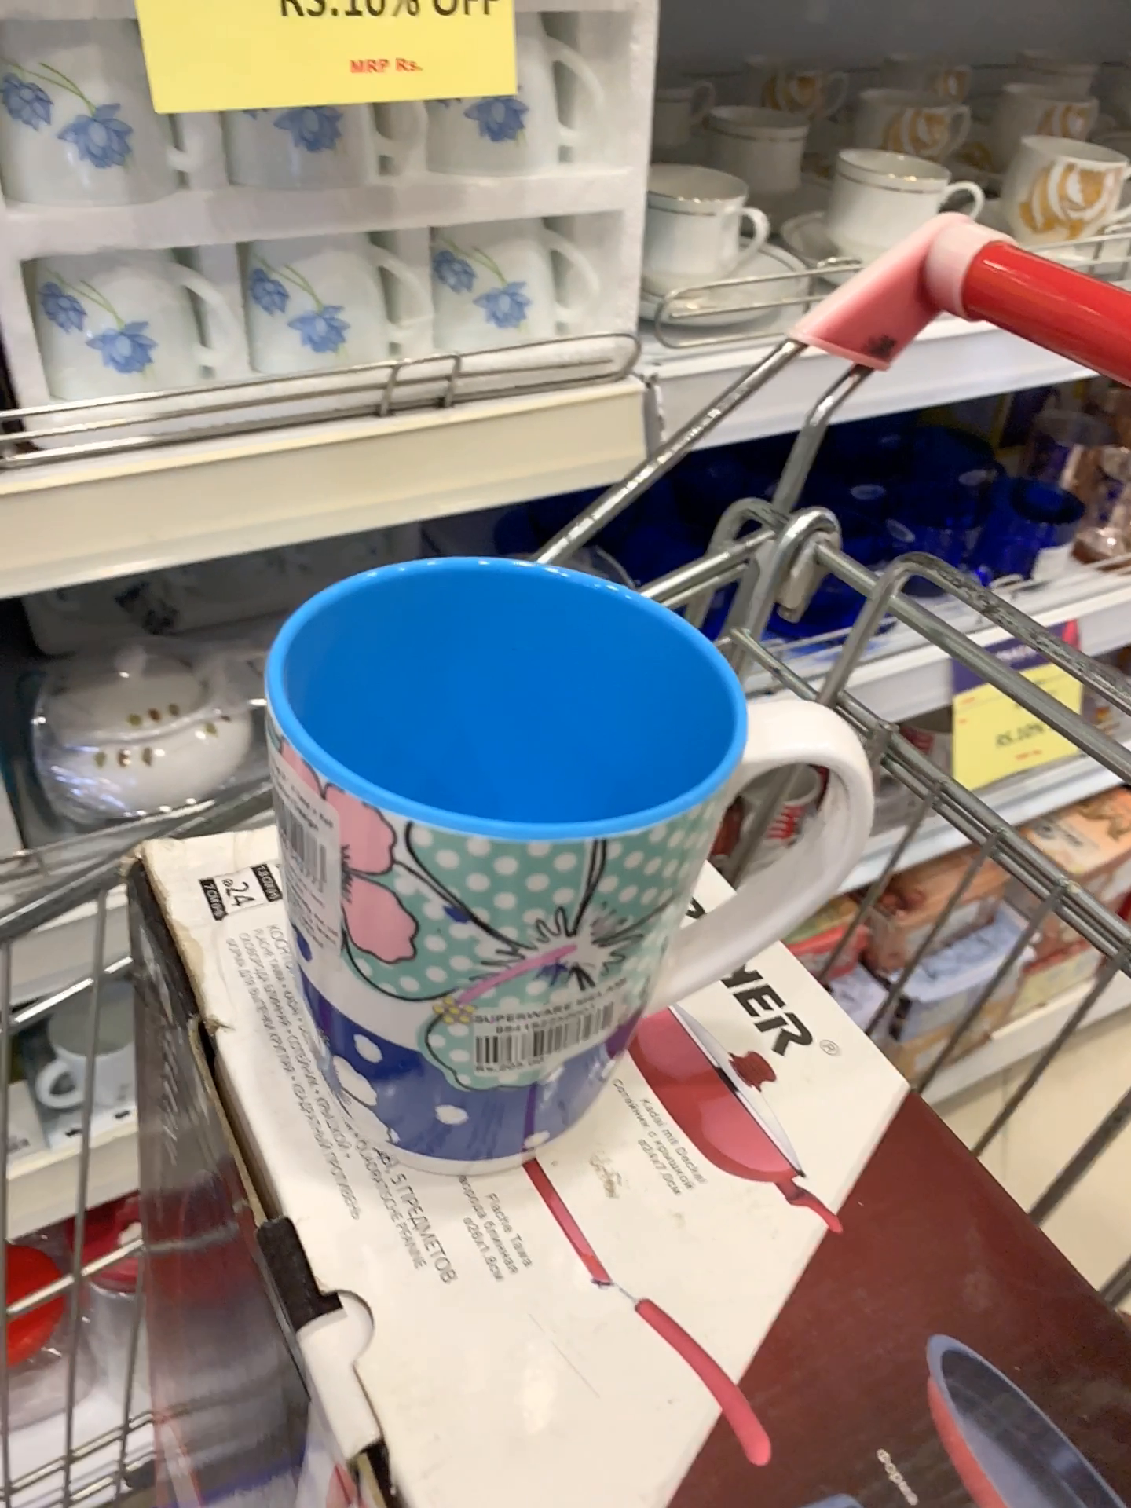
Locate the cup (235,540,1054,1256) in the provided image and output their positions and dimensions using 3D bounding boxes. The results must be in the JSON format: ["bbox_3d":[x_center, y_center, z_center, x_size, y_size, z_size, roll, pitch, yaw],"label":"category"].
[{"bbox_3d":[0.002,0.023,0.226,0.120,0.100,0.080,-3,40,-16],"label":"cup"}]
